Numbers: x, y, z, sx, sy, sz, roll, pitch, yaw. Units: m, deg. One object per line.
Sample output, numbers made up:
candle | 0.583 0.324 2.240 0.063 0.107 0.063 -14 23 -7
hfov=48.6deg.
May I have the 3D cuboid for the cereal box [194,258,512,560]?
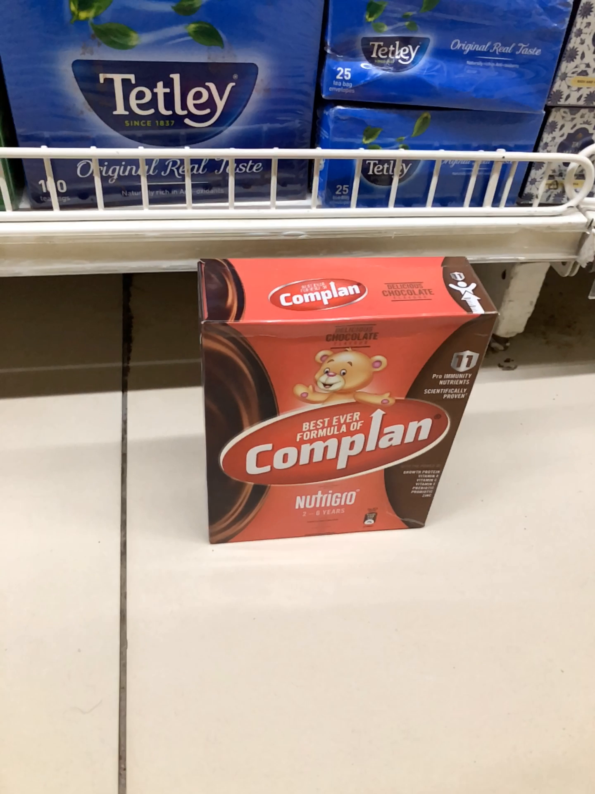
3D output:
cereal box | 0.017 0.015 0.365 0.140 0.179 0.050 -3 45 -9
